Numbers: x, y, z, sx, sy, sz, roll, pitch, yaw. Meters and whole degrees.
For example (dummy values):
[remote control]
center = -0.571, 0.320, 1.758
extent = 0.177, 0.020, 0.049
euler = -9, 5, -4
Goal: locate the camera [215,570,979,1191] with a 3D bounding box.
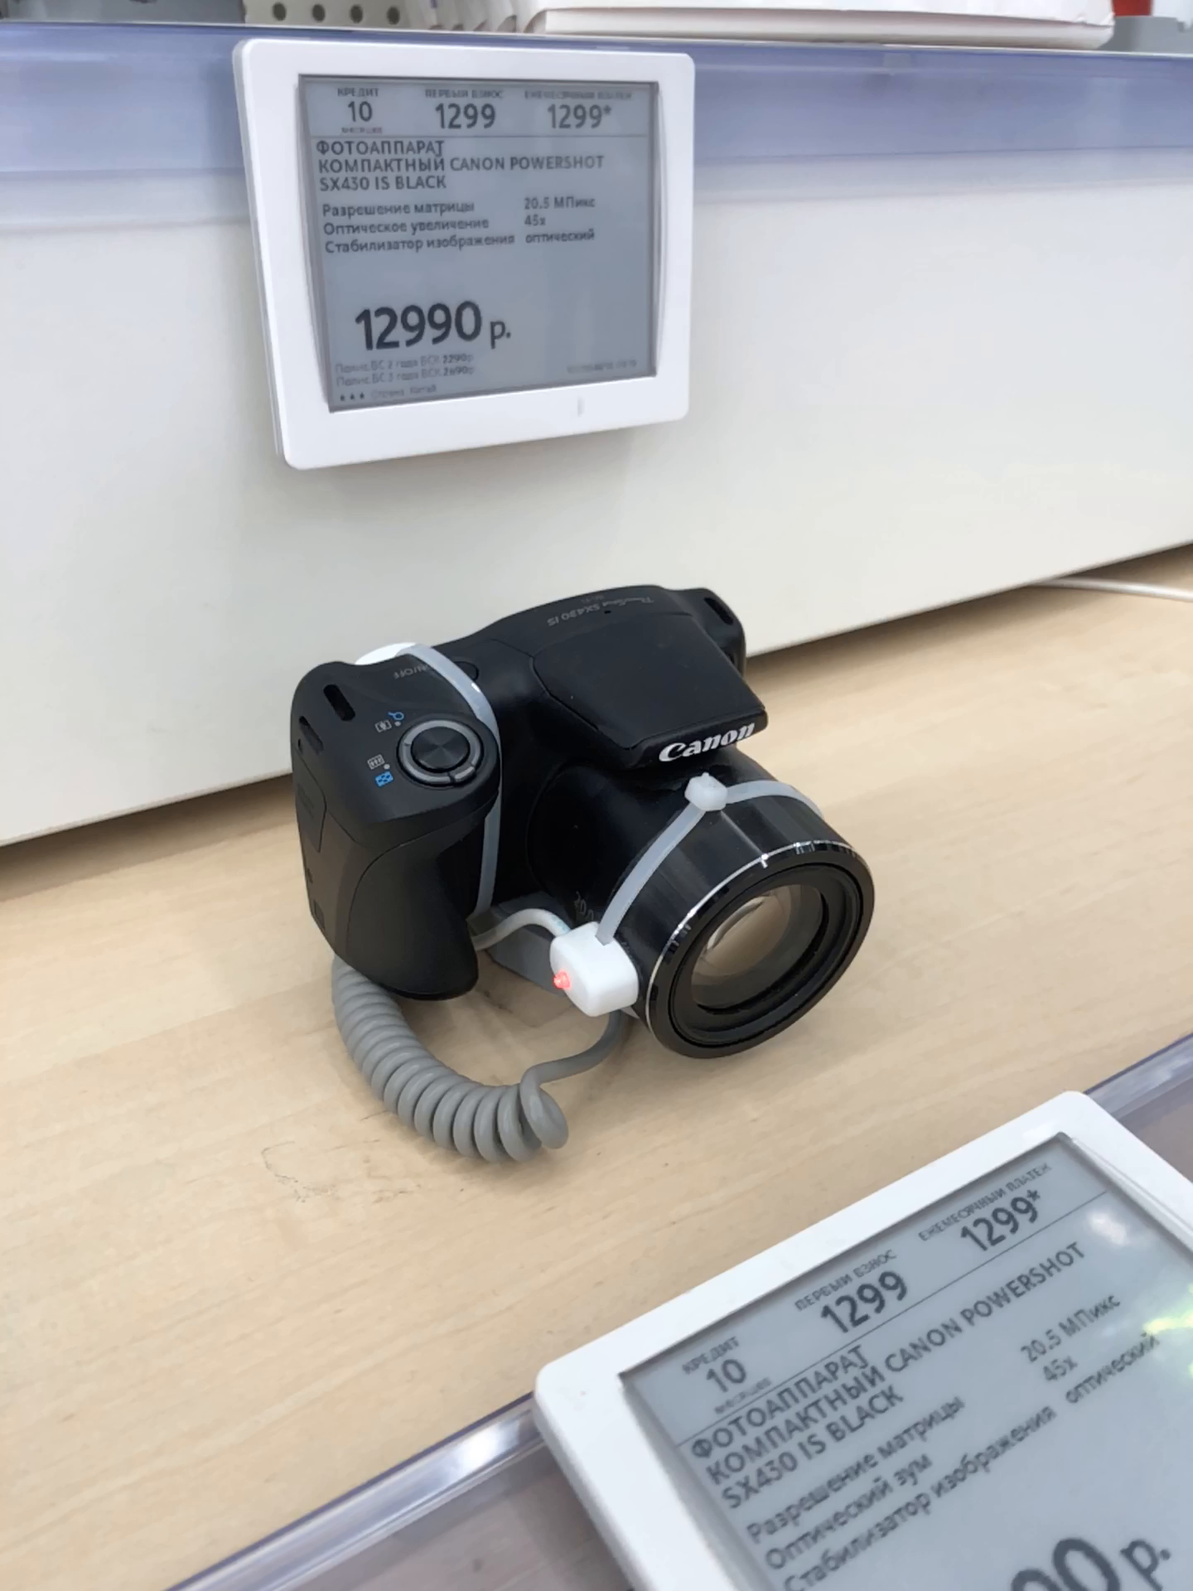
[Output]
[camera]
center = -0.001, 0.006, 0.272
extent = 0.117, 0.063, 0.093
euler = -18, 31, -32
